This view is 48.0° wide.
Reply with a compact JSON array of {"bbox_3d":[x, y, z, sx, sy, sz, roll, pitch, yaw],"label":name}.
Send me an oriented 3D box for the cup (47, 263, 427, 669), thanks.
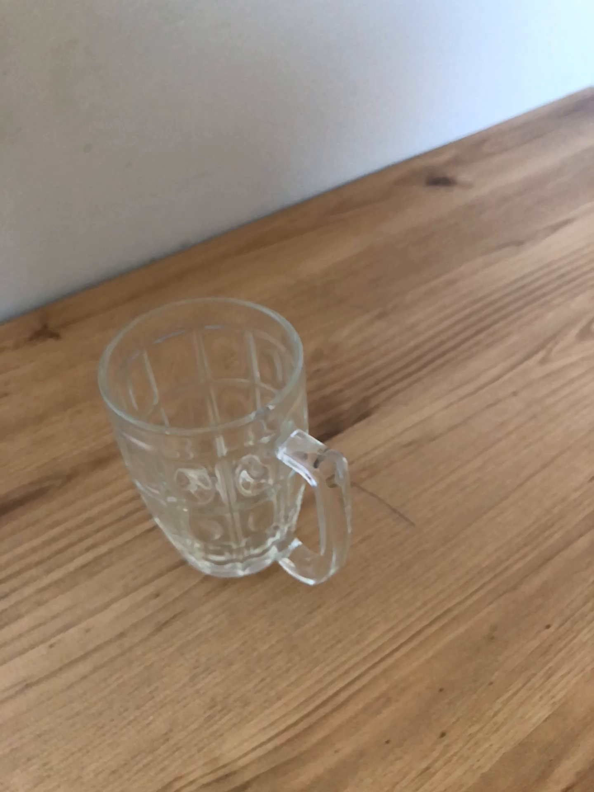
[{"bbox_3d":[-0.022,0.026,0.291,0.120,0.102,0.089,31,56,31],"label":"cup"}]
